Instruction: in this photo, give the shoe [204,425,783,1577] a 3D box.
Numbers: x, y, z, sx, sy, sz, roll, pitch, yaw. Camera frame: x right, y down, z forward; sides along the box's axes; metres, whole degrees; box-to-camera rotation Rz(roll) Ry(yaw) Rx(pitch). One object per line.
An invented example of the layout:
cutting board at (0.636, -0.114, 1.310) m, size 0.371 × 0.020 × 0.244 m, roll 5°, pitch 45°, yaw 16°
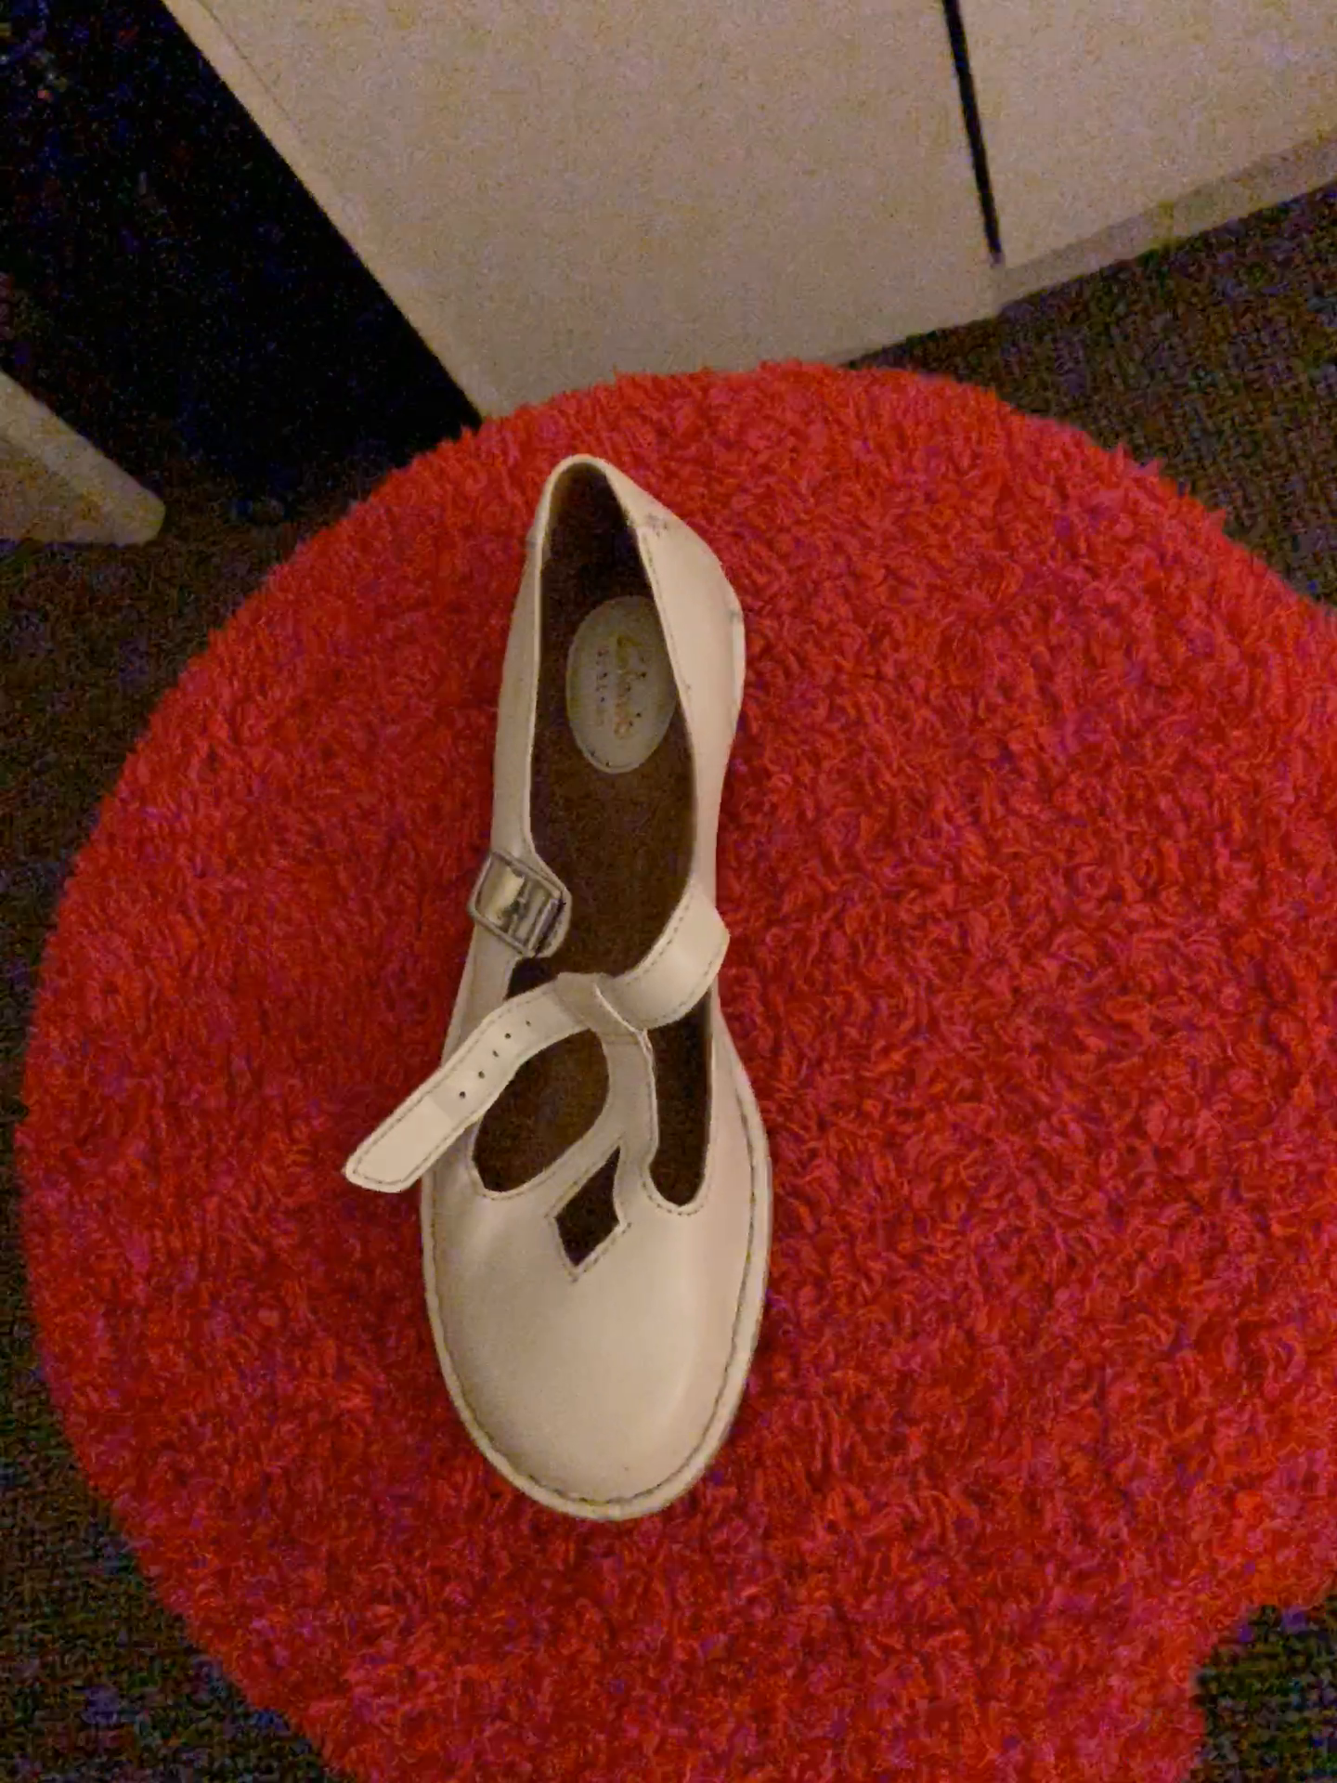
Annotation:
shoe at (-0.037, 0.025, 0.356) m, size 0.100 × 0.090 × 0.261 m, roll -8°, pitch 68°, yaw 19°
